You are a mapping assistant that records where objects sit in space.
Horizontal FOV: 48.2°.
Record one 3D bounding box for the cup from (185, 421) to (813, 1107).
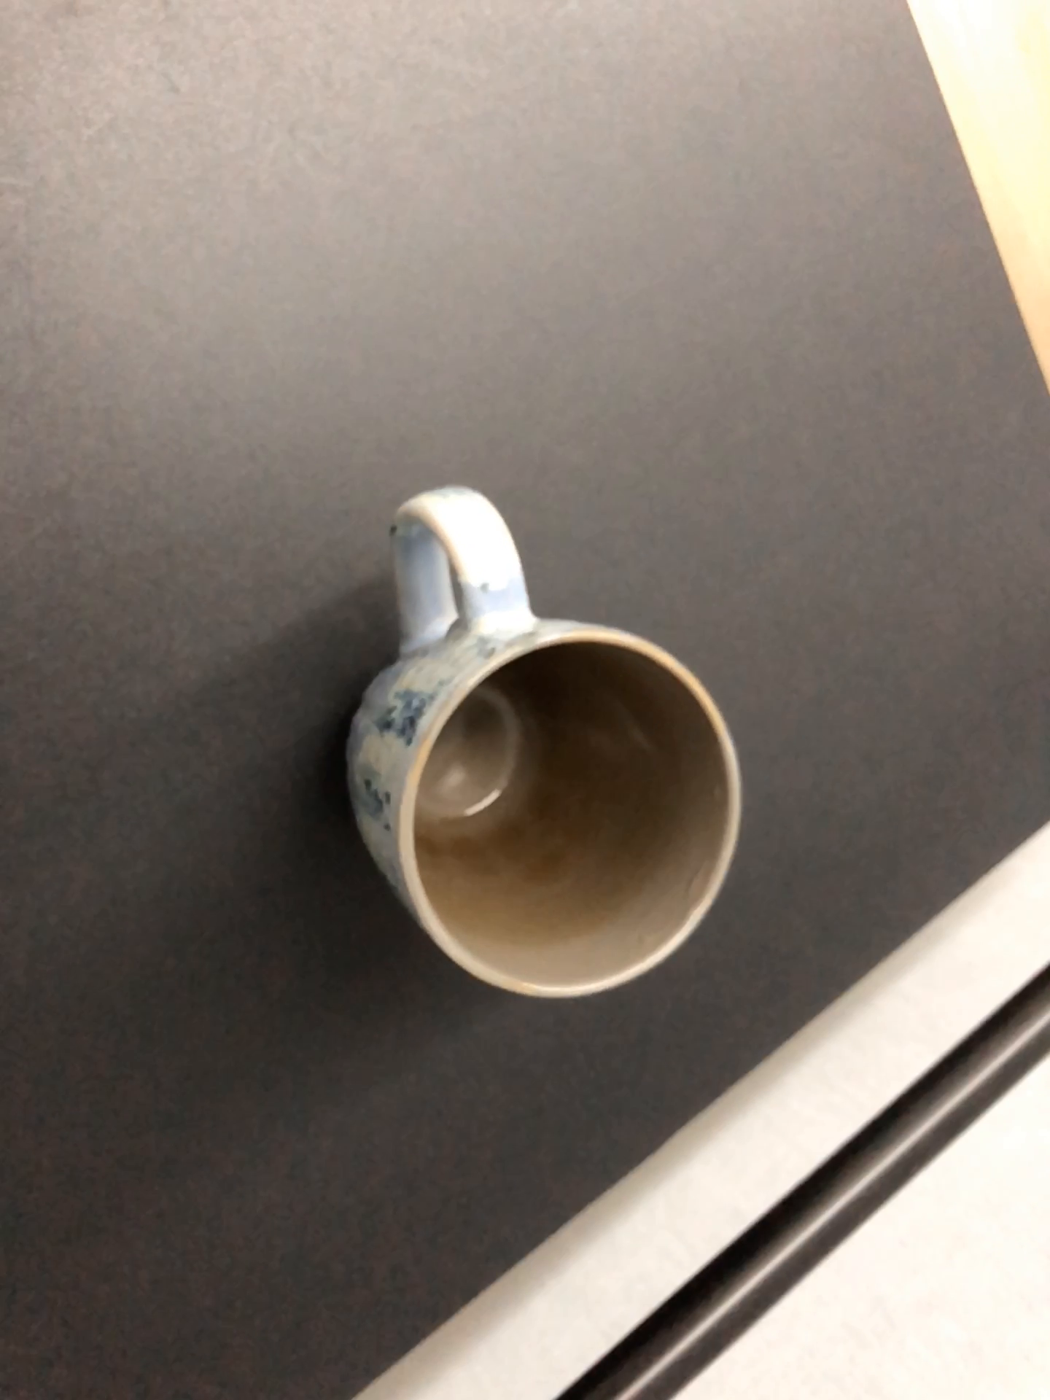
[{"bbox_3d":[-0.011,0.007,0.296,0.089,0.107,0.120,-26,107,-18],"label":"cup"}]
